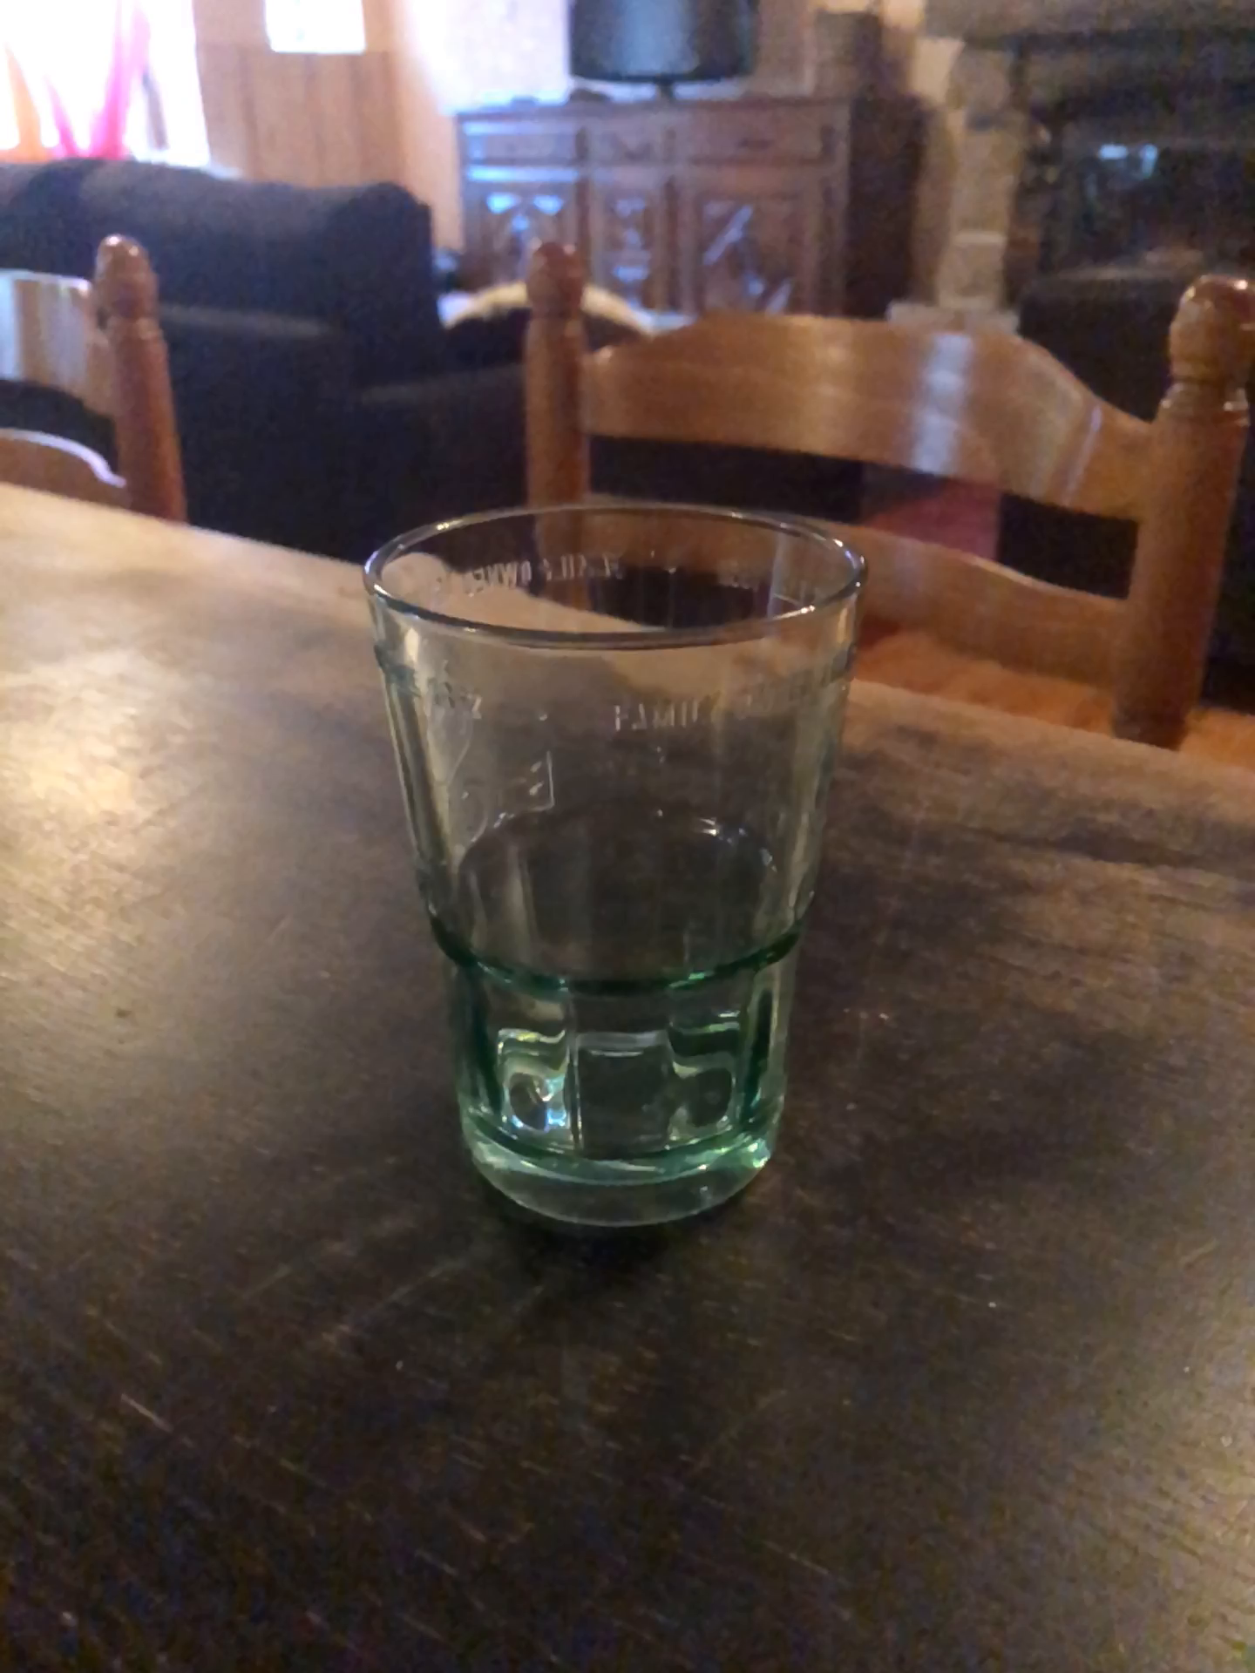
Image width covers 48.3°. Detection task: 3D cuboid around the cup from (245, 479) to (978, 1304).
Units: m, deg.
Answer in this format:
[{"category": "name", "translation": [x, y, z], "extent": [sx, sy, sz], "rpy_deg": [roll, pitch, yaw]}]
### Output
[{"category": "cup", "translation": [0.001, 0.001, 0.248], "extent": [0.089, 0.103, 0.083], "rpy_deg": [0, 26, 0]}]
